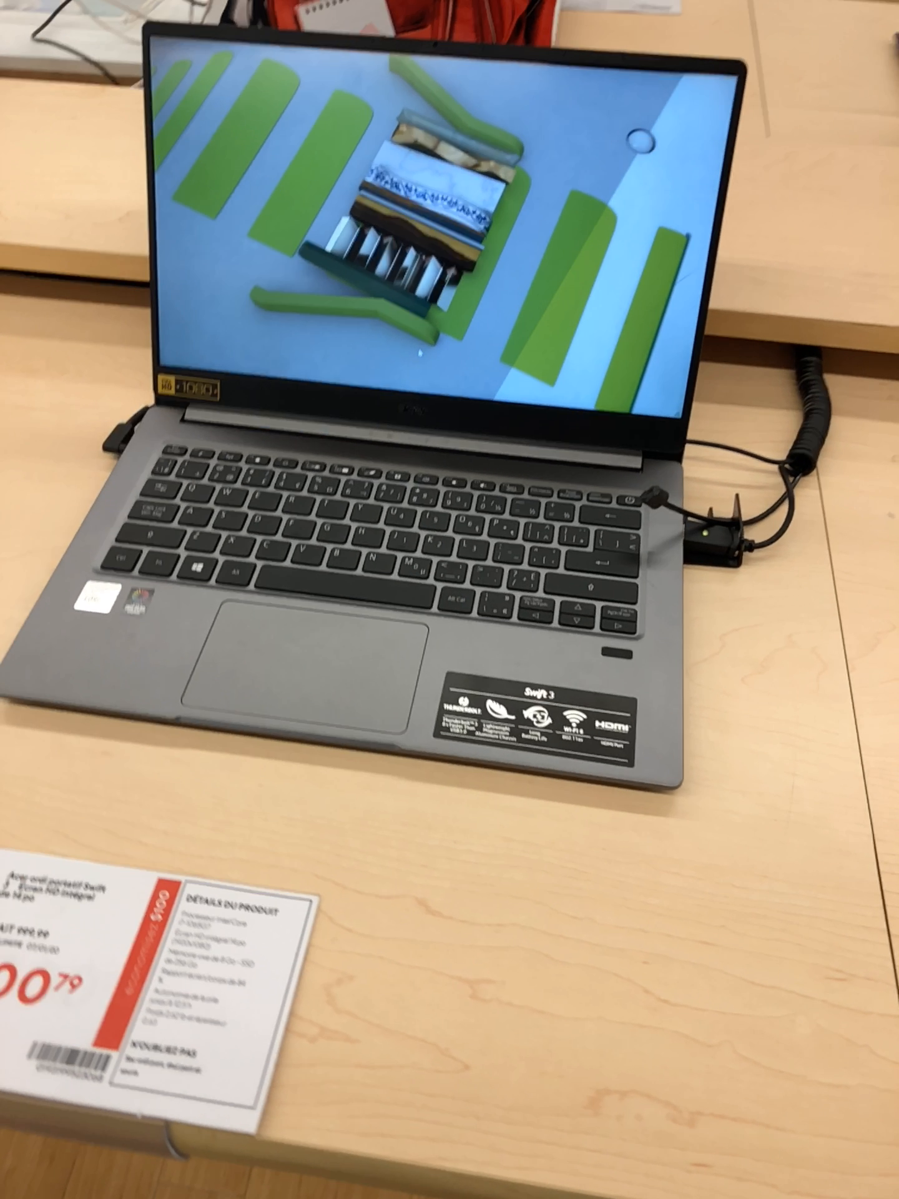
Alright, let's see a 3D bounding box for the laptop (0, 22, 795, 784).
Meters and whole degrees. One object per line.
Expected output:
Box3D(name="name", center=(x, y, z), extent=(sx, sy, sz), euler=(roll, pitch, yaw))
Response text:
Box3D(name="laptop", center=(-0.031, -0.114, 0.478), extent=(0.315, 0.178, 0.312), euler=(7, 49, 5))
